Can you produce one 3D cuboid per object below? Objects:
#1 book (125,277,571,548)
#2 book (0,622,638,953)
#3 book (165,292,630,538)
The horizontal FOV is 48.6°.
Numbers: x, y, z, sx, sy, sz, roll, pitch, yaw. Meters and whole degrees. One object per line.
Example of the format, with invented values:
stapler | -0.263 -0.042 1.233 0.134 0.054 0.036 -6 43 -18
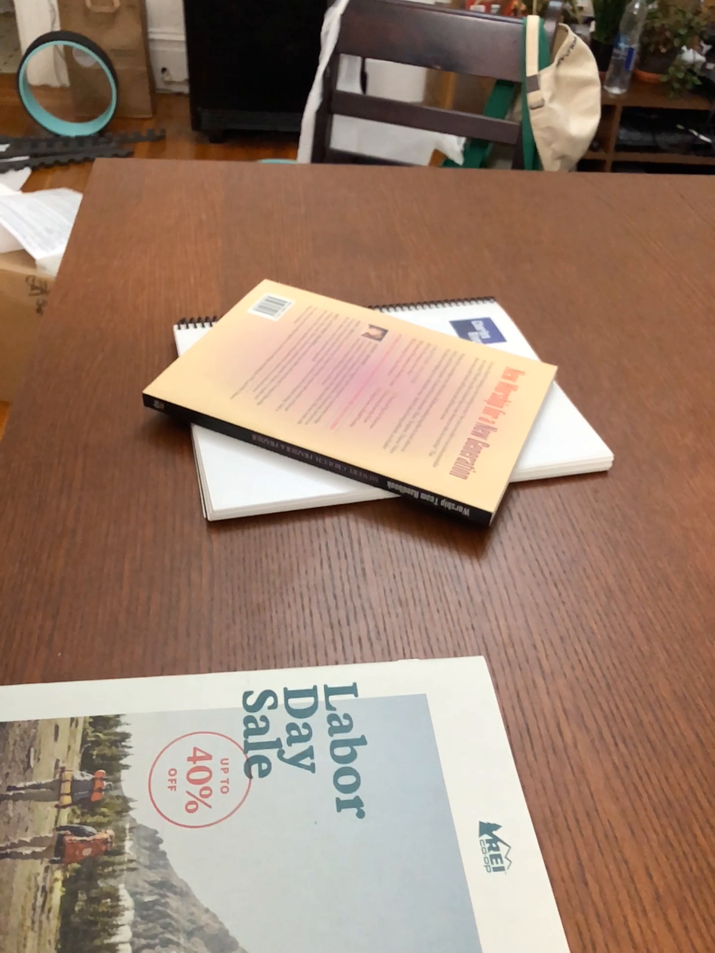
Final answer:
book | 0.002 -0.062 0.564 0.260 0.020 0.191 19 43 15
book | -0.051 0.152 0.329 0.270 0.010 0.201 -2 42 -8
book | 0.016 -0.063 0.593 0.290 0.020 0.231 -7 43 -14
